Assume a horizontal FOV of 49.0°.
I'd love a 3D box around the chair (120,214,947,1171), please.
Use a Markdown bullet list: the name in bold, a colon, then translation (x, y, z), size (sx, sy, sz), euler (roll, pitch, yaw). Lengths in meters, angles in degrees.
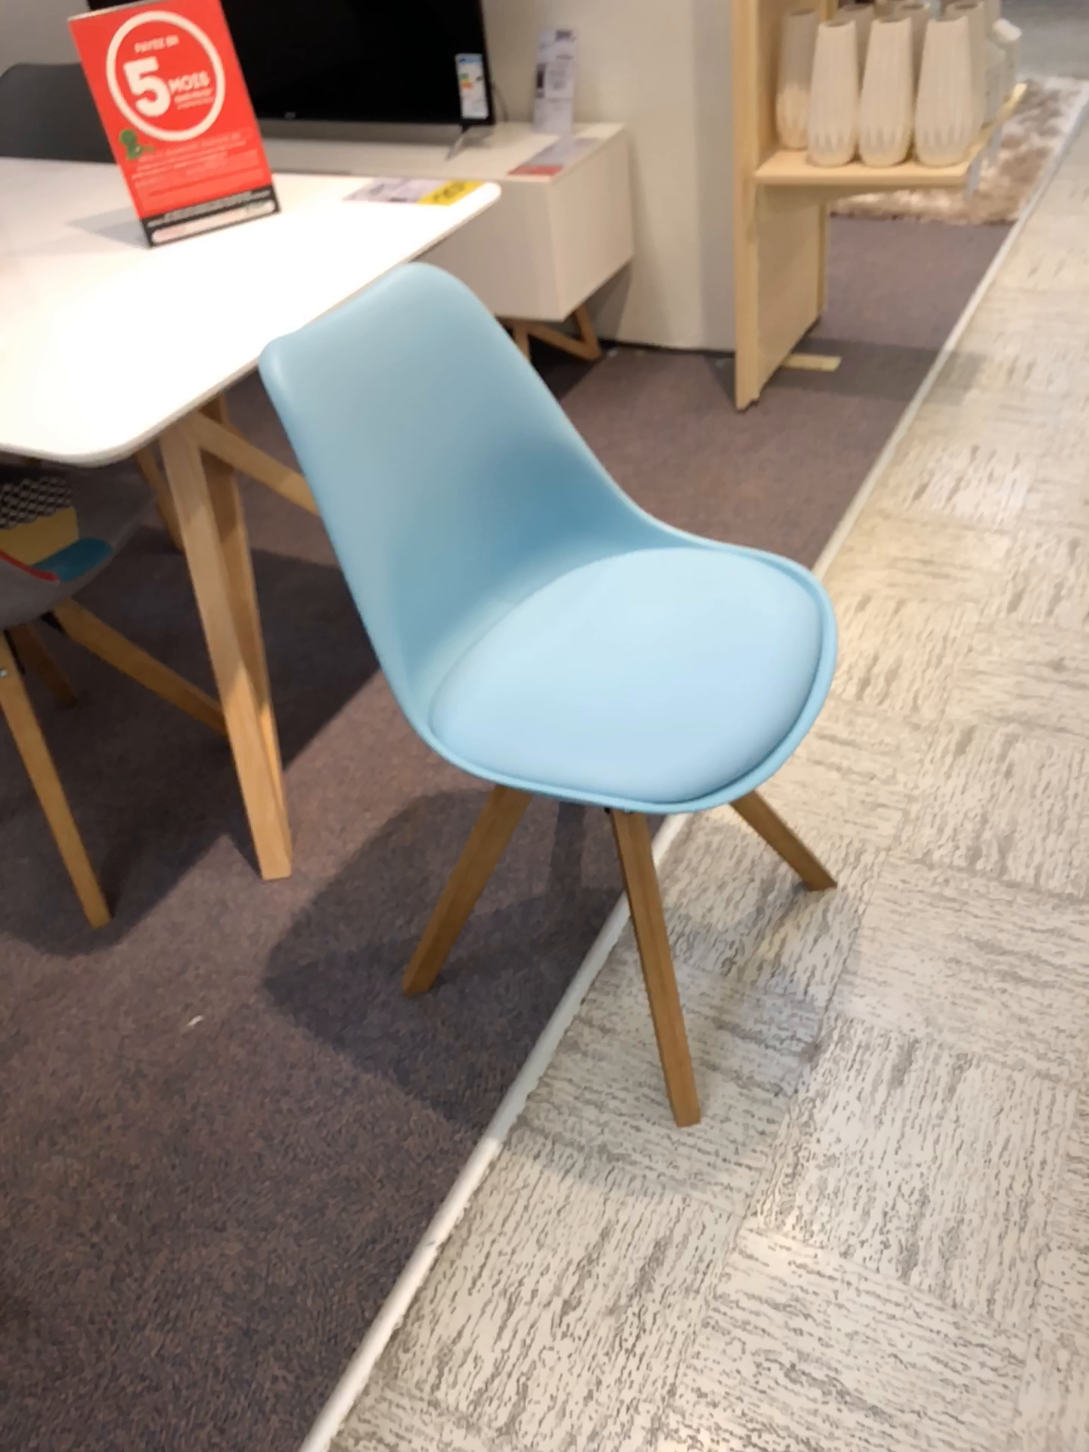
- **chair**: translation (0.046, -0.057, 1.341), size (0.560, 0.795, 0.543), euler (17, 45, 26)
